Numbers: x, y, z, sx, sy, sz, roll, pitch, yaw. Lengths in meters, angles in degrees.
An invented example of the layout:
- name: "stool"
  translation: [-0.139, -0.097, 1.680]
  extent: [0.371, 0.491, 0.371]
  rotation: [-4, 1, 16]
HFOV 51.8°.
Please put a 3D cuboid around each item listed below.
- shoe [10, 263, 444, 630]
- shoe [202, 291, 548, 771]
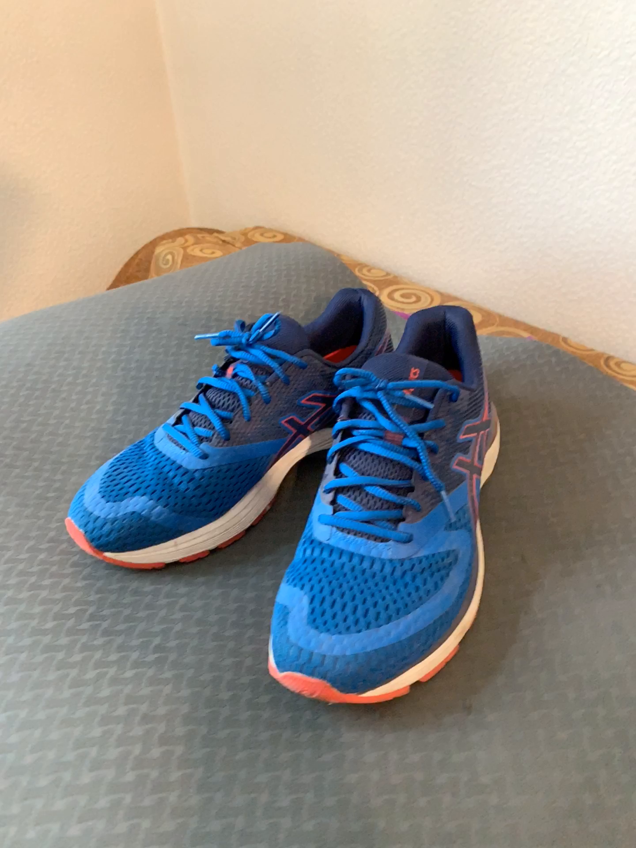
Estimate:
- name: "shoe"
  translation: [-0.048, -0.005, 0.502]
  extent: [0.301, 0.109, 0.120]
  rotation: [-33, 48, -32]
- name: "shoe"
  translation: [0.060, 0.037, 0.436]
  extent: [0.120, 0.109, 0.301]
  rotation: [13, 41, 19]
